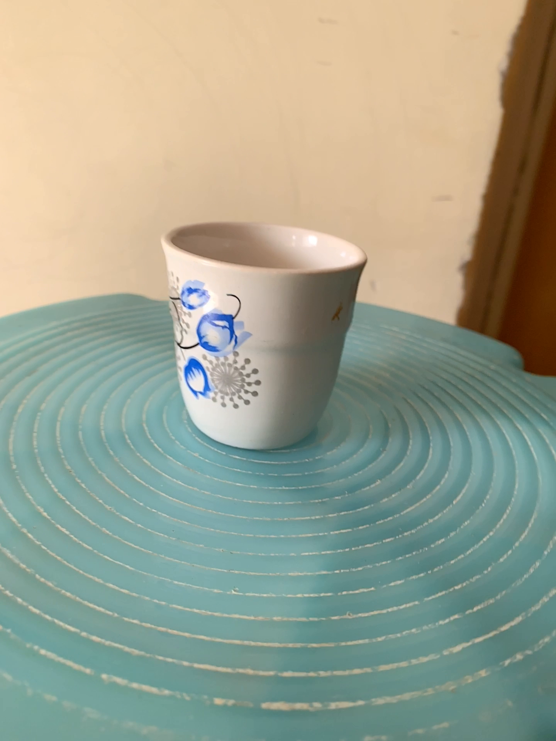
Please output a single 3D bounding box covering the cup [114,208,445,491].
[{"bbox_3d":[-0.006,-0.017,0.205,0.070,0.060,0.090,-12,29,-33],"label":"cup"}]
